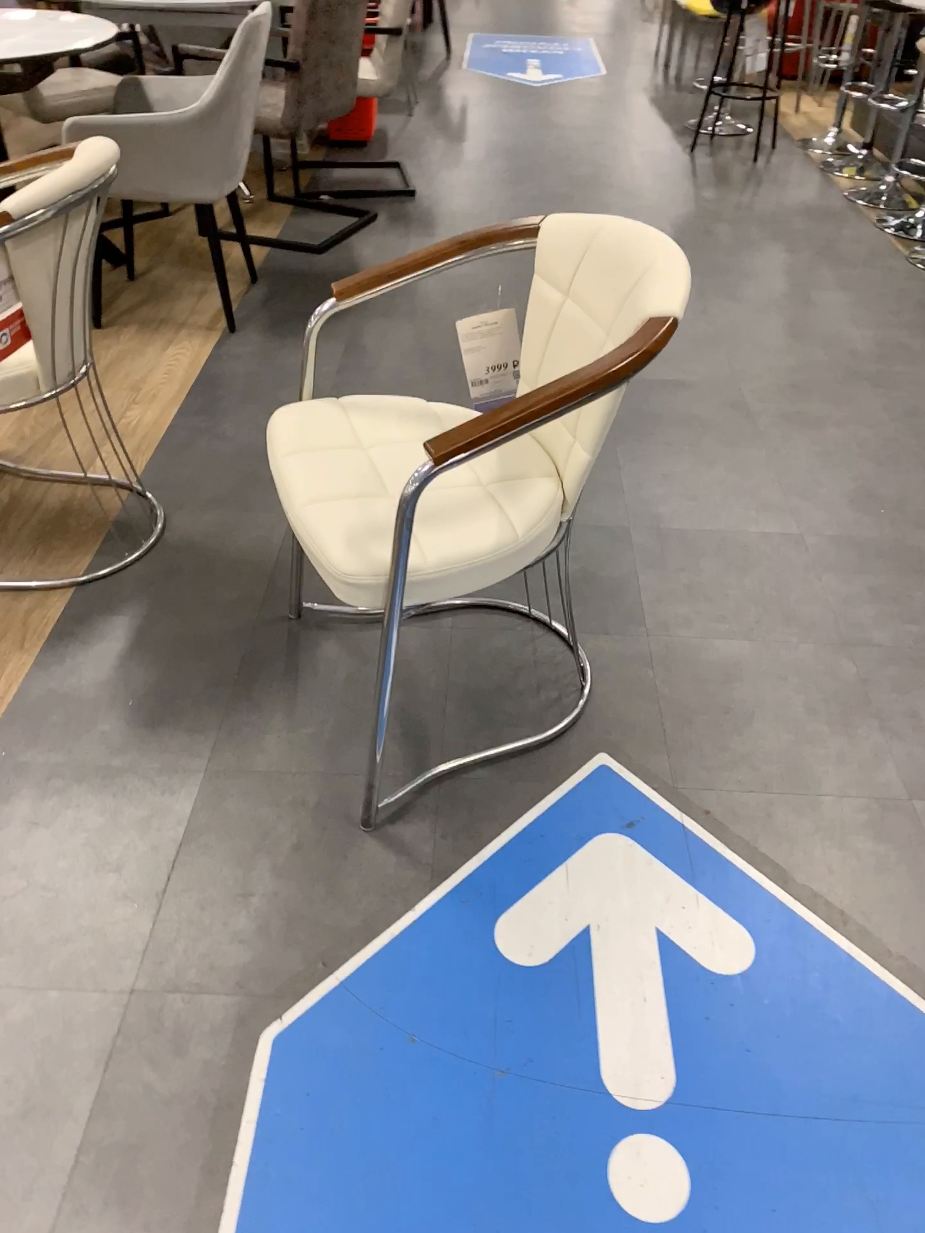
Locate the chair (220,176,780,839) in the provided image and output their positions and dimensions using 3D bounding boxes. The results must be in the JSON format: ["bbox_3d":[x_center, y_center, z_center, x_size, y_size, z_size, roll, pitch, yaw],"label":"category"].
[{"bbox_3d":[0.002,-0.199,1.574,0.601,0.815,0.603,-12,41,-17],"label":"chair"}]
